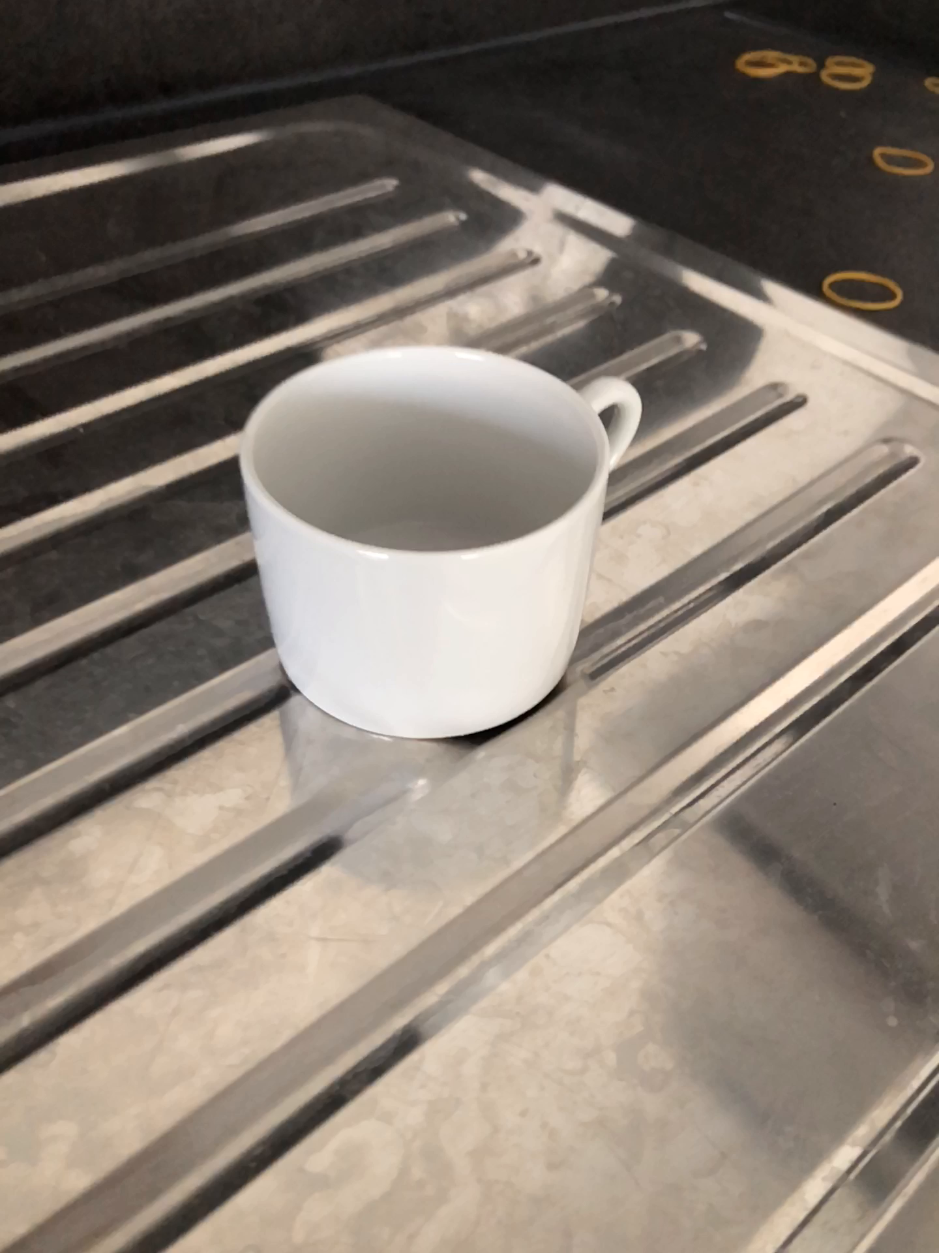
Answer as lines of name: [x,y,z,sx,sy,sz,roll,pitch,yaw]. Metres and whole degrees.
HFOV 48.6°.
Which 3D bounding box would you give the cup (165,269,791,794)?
cup: [0.000,-0.029,0.245,0.110,0.060,0.080,-22,48,-25]
